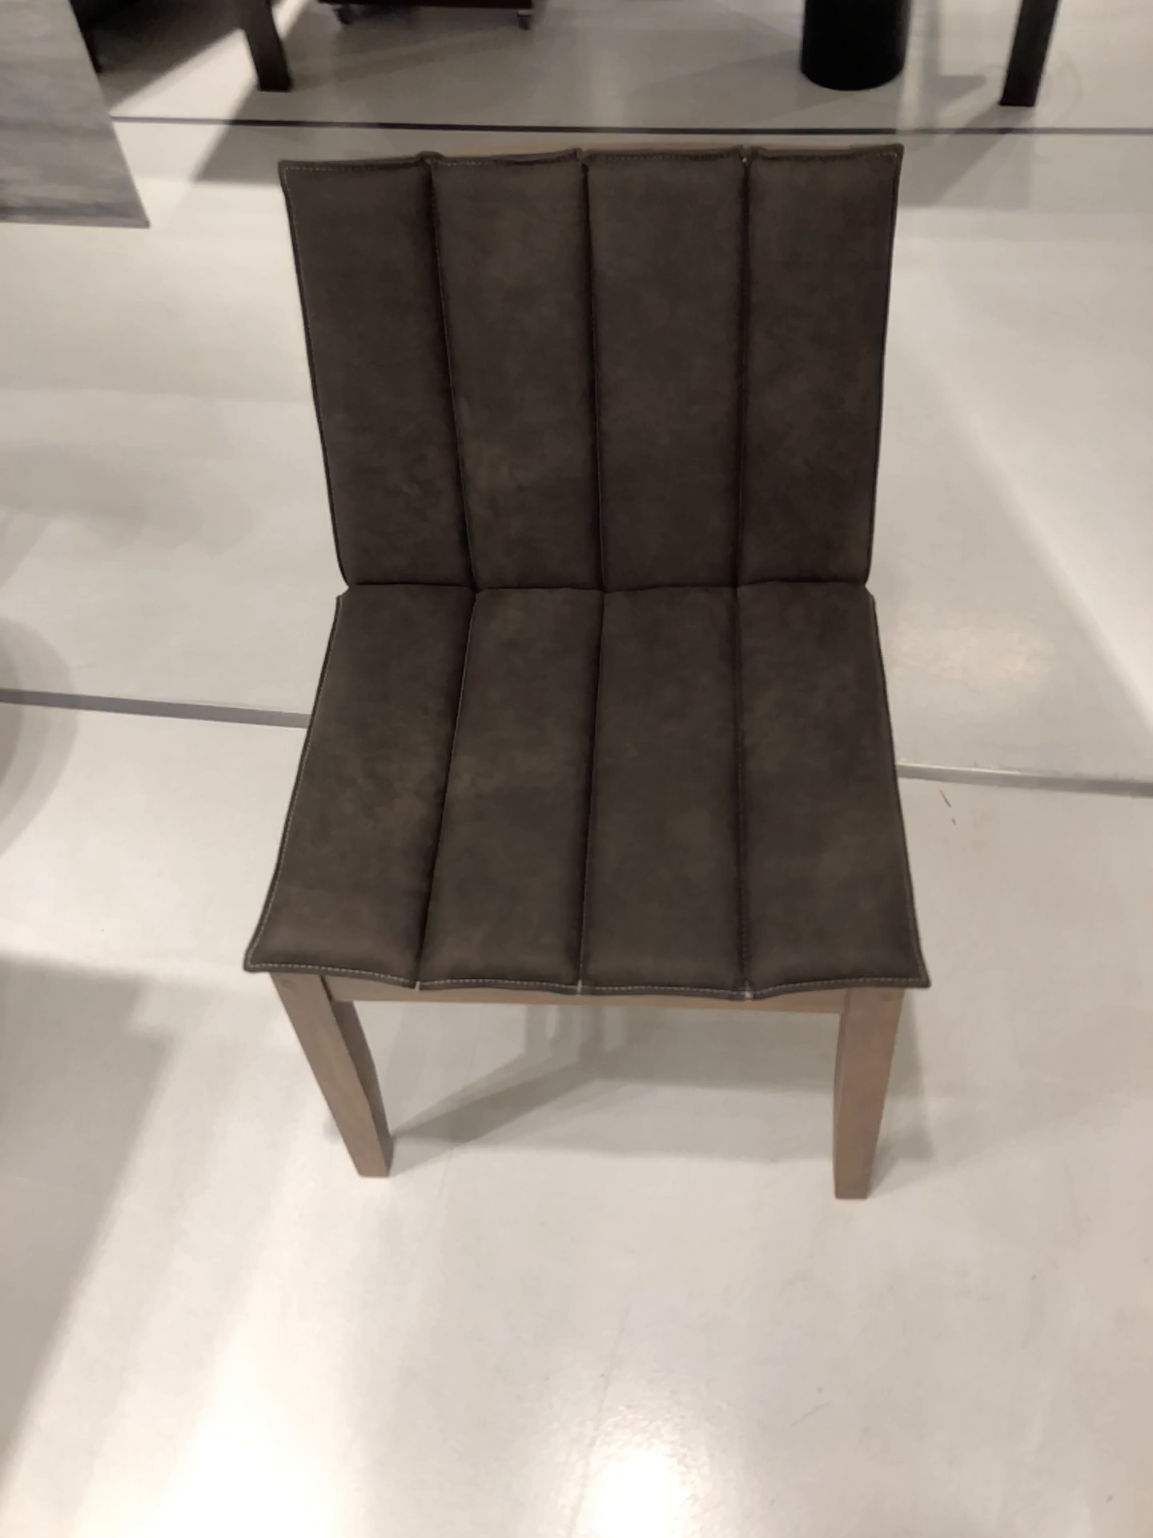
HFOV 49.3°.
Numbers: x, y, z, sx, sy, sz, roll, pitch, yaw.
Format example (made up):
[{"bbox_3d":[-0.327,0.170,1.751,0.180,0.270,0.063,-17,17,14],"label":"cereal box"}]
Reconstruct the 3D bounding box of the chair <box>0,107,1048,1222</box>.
[{"bbox_3d":[0.004,-0.024,1.089,0.540,0.776,0.573,1,55,7],"label":"chair"}]
